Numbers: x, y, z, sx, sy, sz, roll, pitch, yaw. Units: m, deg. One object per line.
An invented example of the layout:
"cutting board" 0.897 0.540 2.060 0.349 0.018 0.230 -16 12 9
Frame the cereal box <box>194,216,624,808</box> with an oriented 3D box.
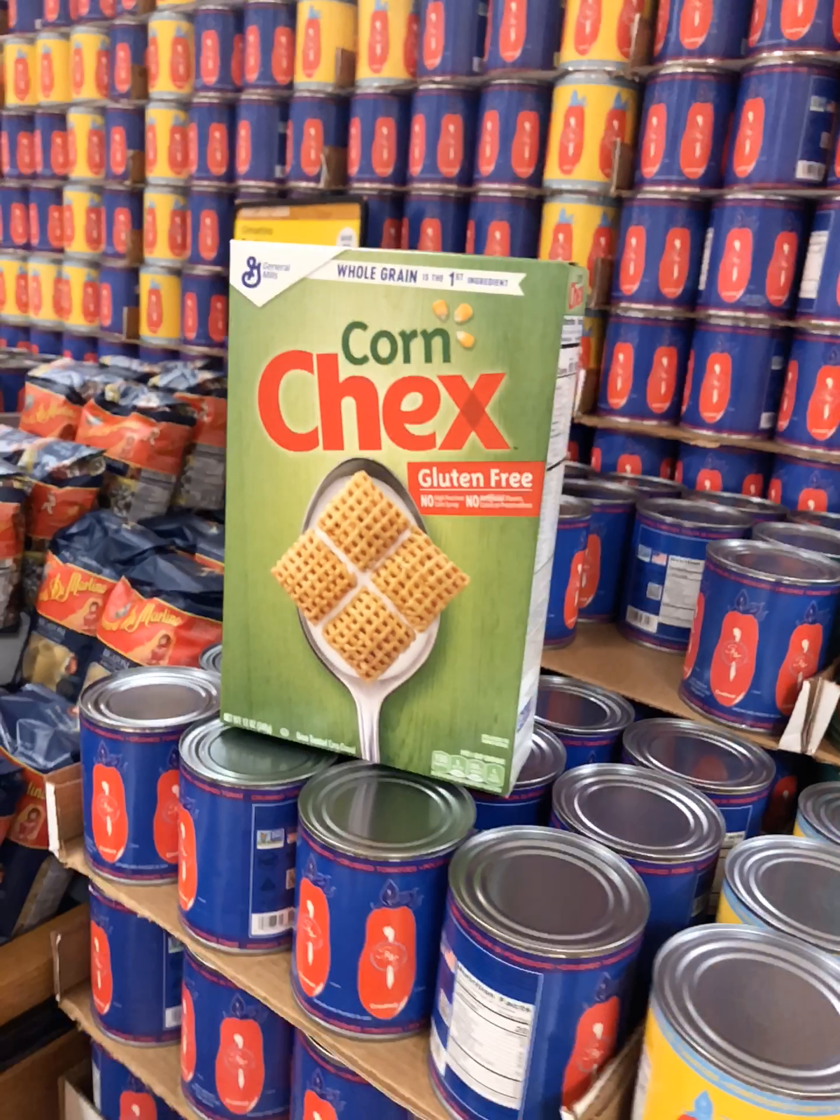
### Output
"cereal box" -0.017 -0.032 0.536 0.220 0.299 0.060 10 16 19
